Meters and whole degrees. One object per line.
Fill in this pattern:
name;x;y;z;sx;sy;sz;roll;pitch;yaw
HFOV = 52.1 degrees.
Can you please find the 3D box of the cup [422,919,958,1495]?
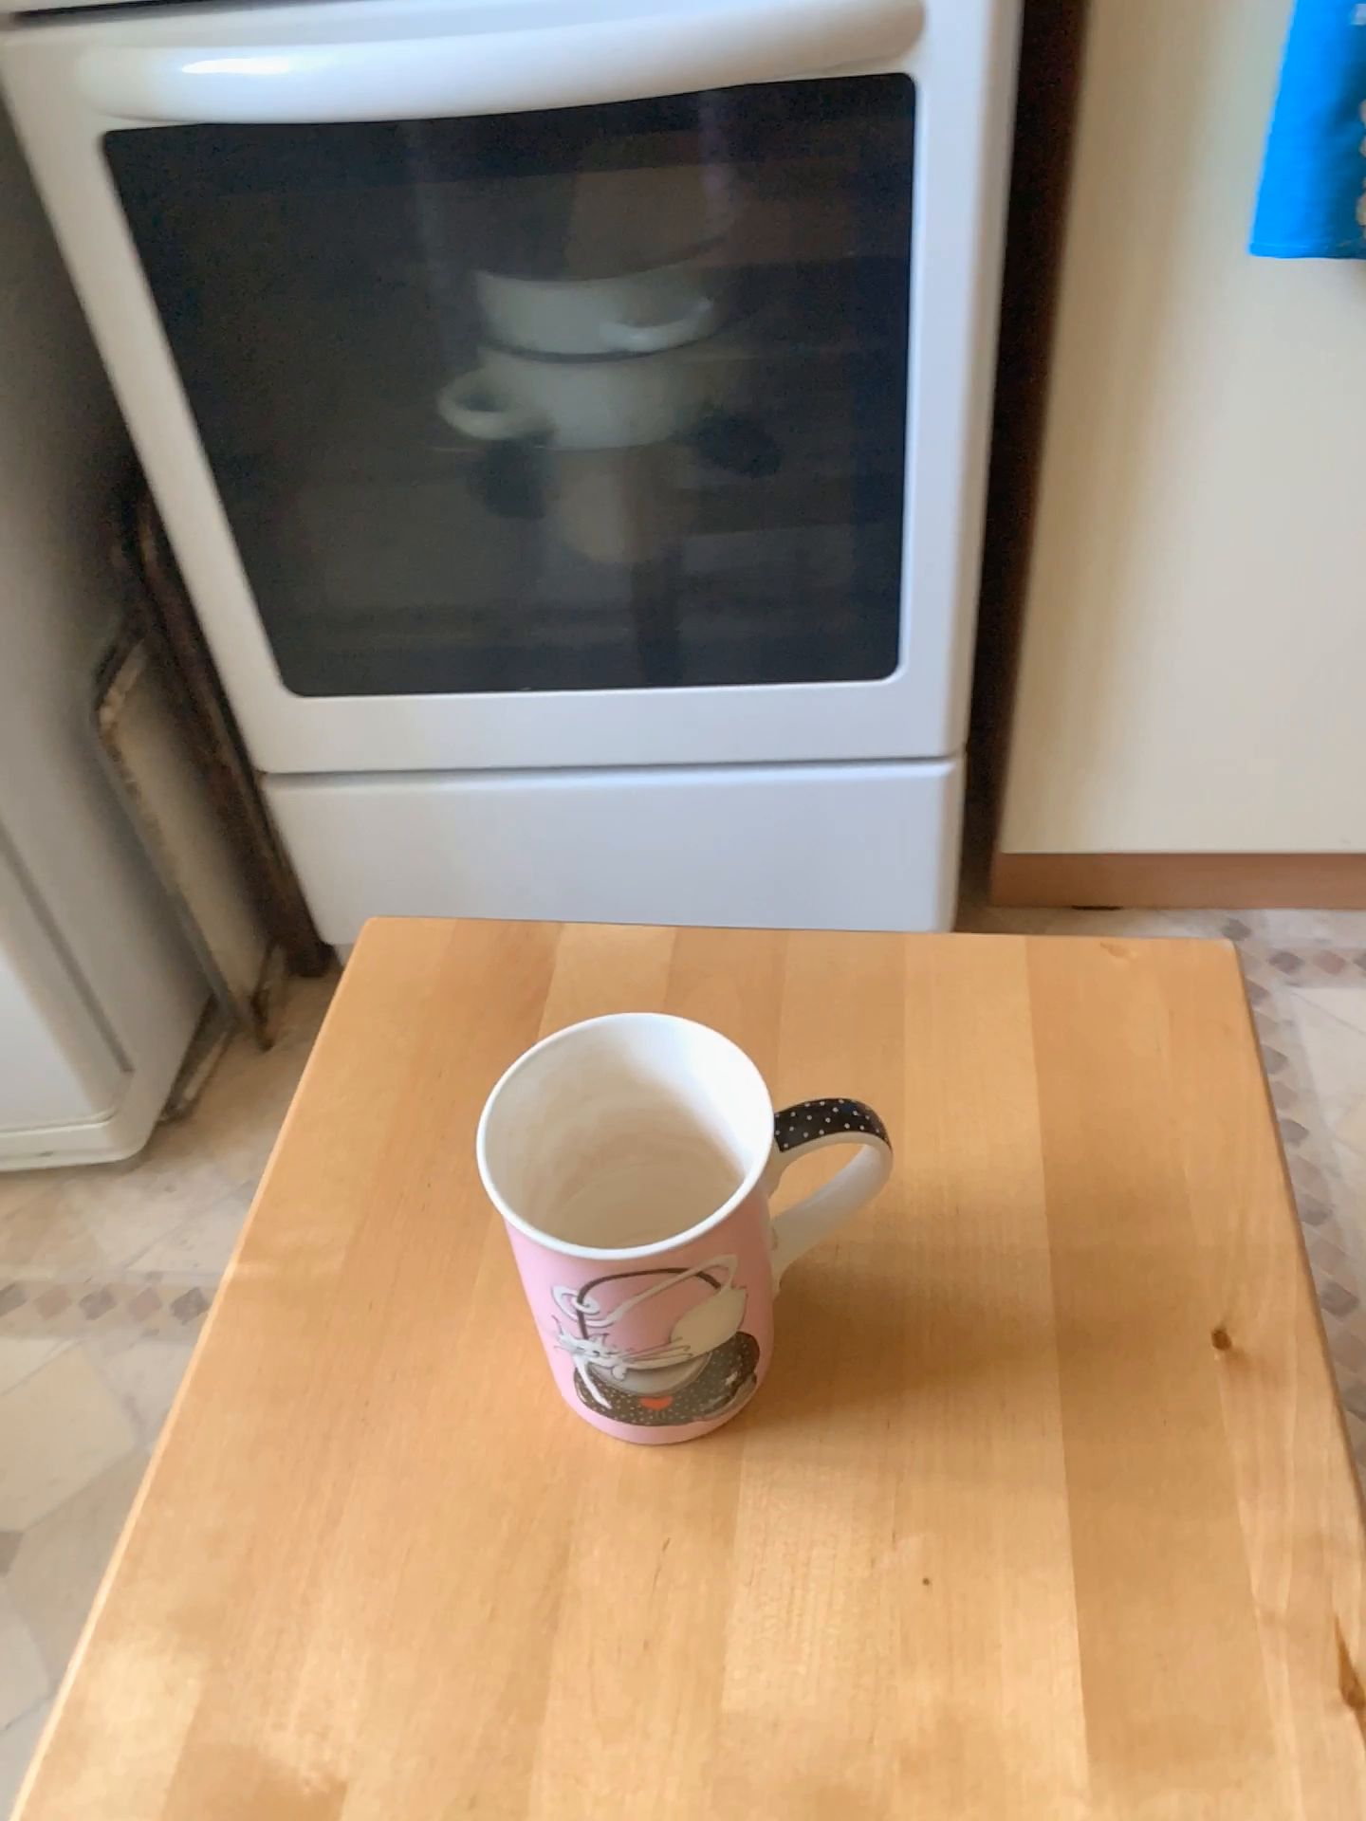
cup;0.003;0.080;0.377;0.113;0.107;0.075;-16;45;-10
